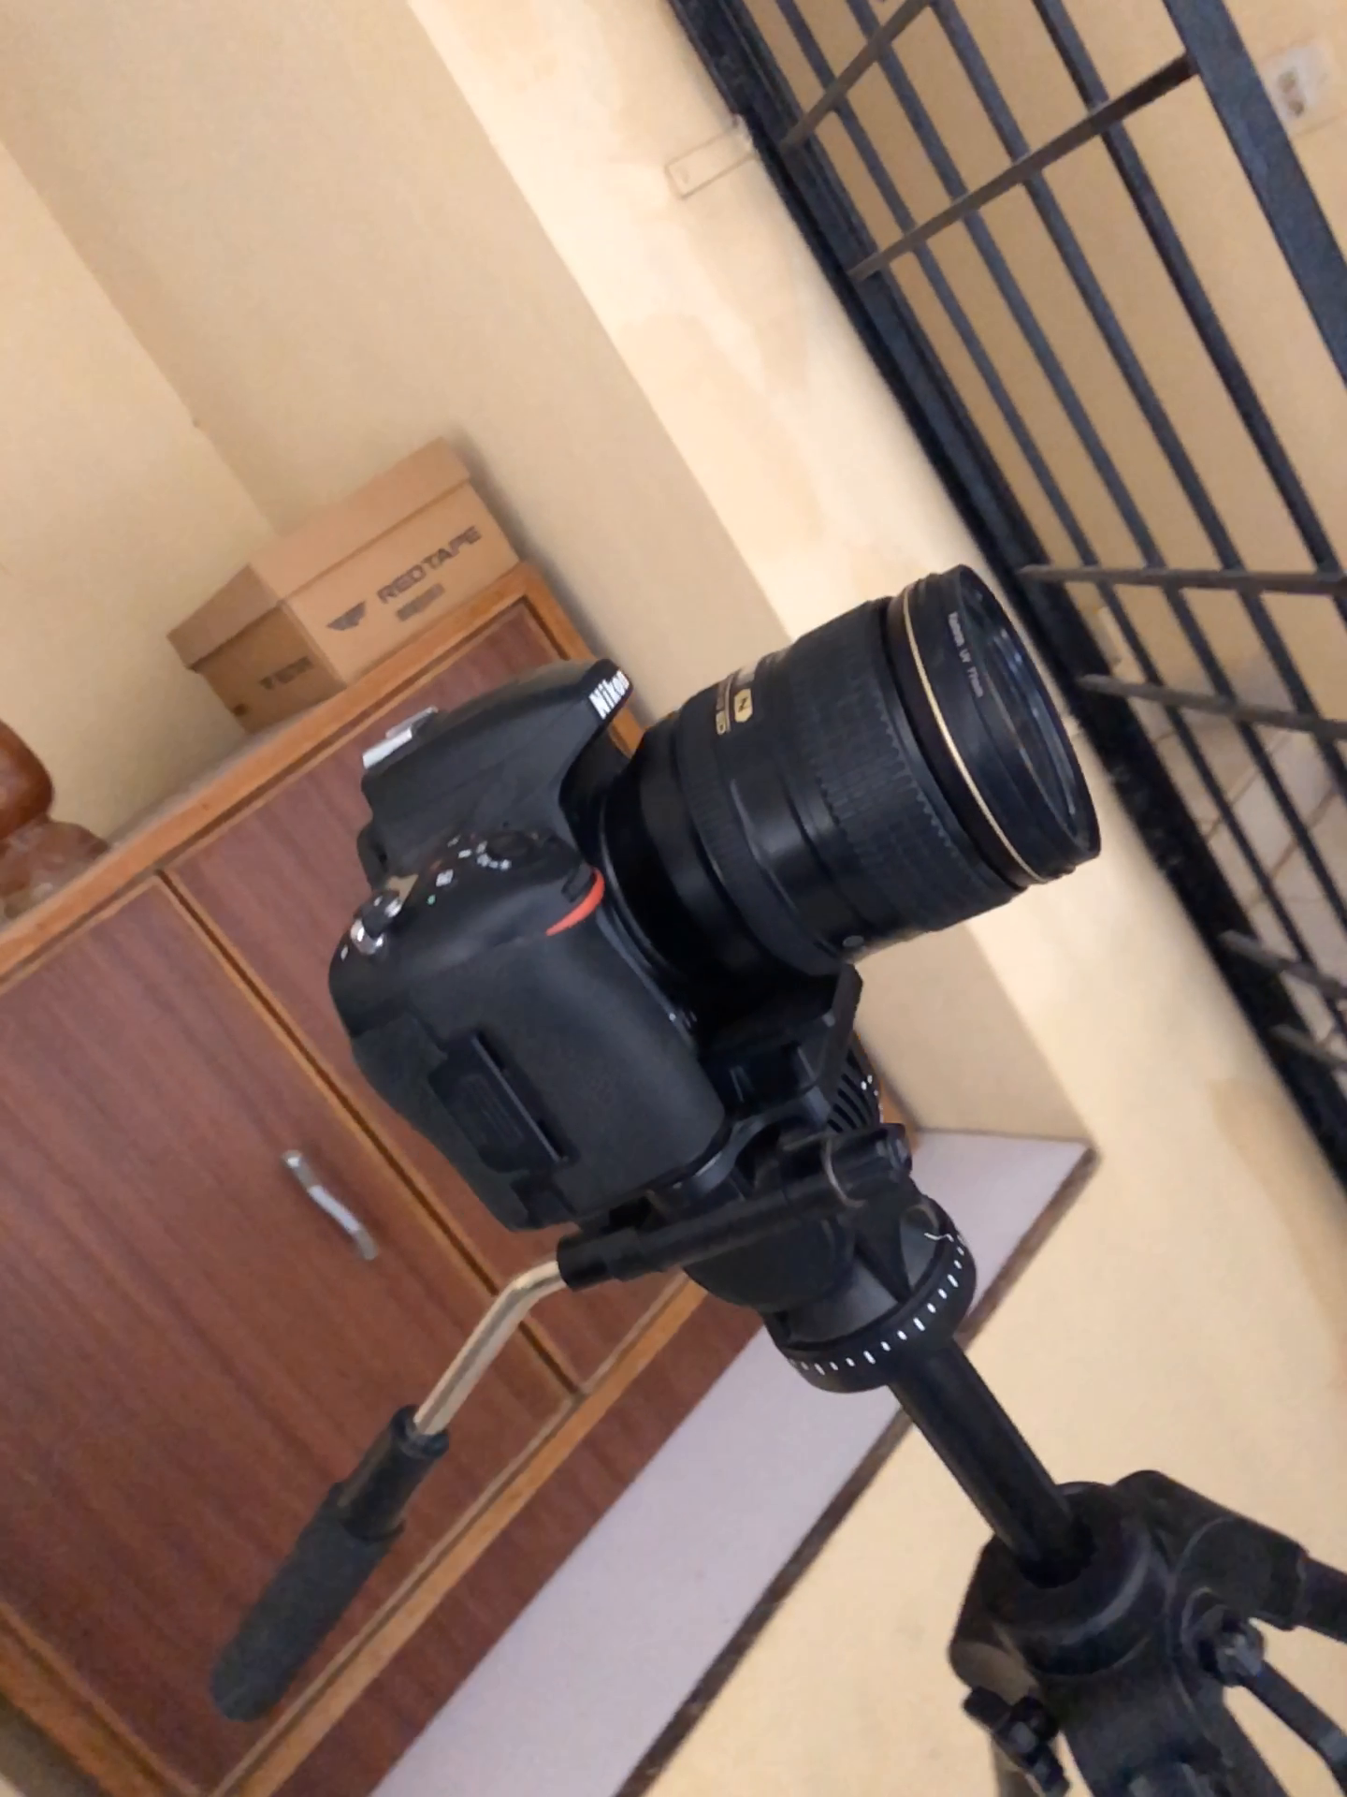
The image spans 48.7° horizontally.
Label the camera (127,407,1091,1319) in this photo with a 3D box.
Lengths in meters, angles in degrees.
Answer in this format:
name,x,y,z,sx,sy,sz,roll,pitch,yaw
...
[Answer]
name,x,y,z,sx,sy,sz,roll,pitch,yaw
camera,-0.001,-0.016,0.372,0.171,0.105,0.171,-26,17,25
